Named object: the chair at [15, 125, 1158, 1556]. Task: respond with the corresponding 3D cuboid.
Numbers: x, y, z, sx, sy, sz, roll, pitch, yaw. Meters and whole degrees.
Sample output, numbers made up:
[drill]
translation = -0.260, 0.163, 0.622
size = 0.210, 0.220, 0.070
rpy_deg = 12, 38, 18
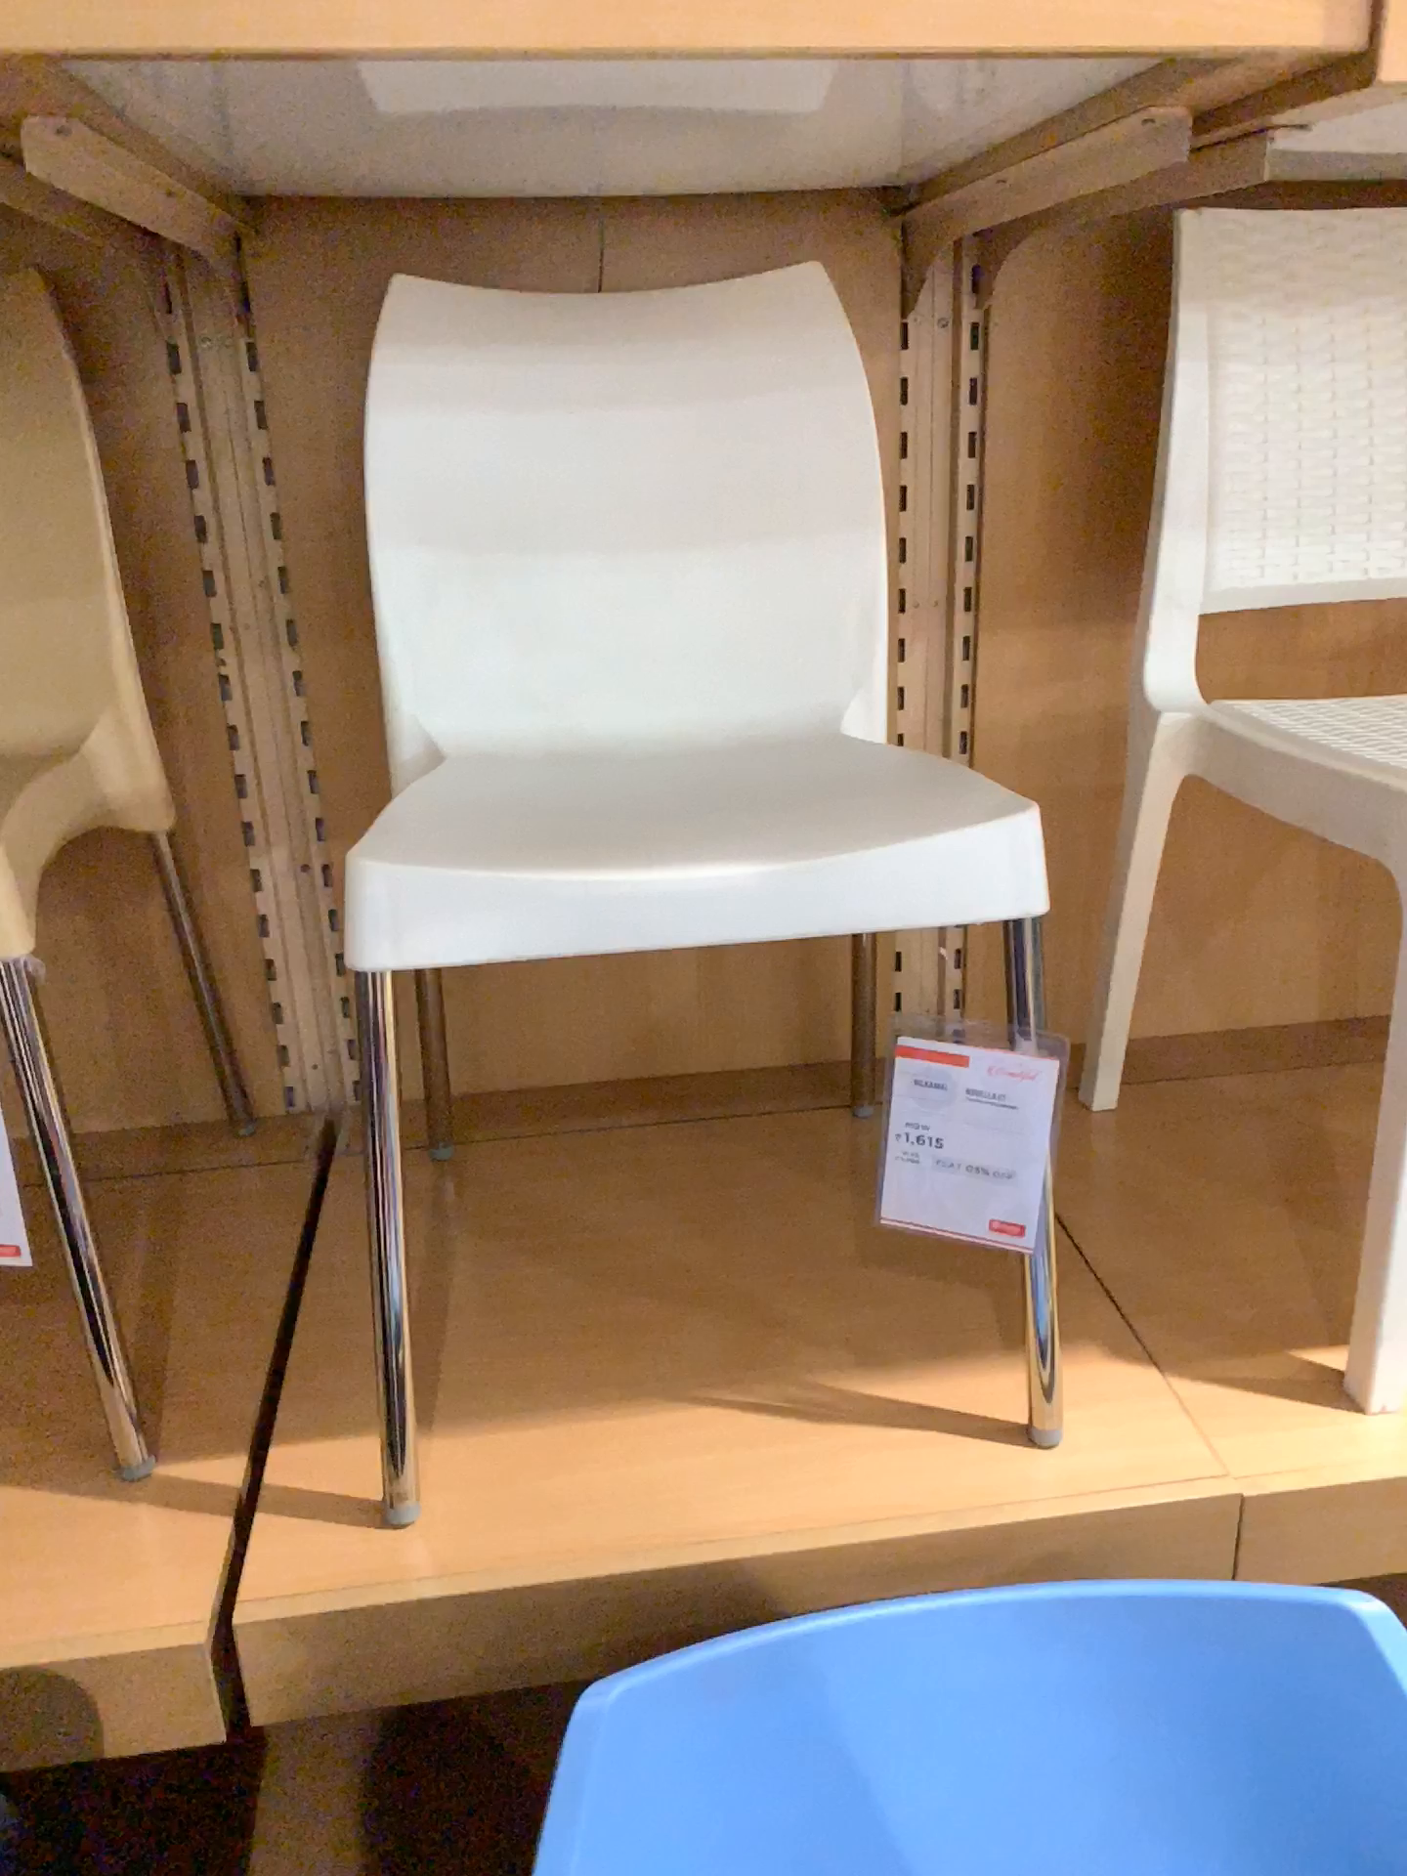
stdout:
[chair]
translation = -0.081, -0.122, 1.241
size = 0.610, 0.917, 0.683
rpy_deg = -5, 21, -7
